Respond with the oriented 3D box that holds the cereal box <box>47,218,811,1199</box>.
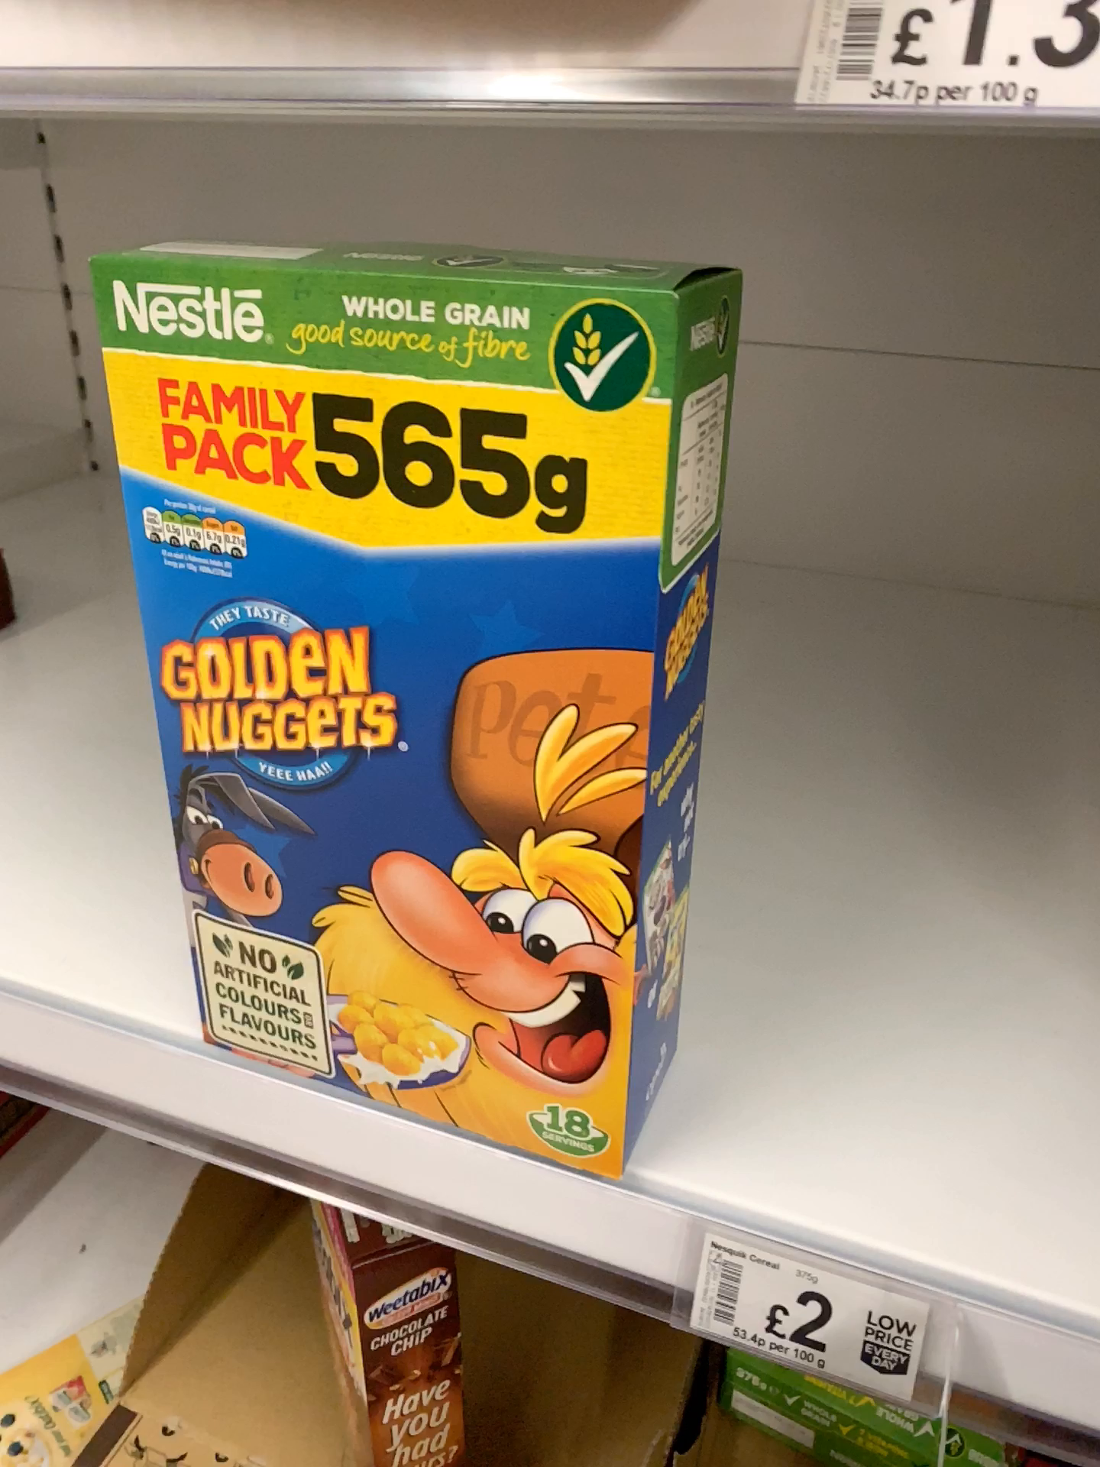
[{"bbox_3d":[-0.039,-0.011,0.408,0.210,0.307,0.091,12,28,20],"label":"cereal box"}]
